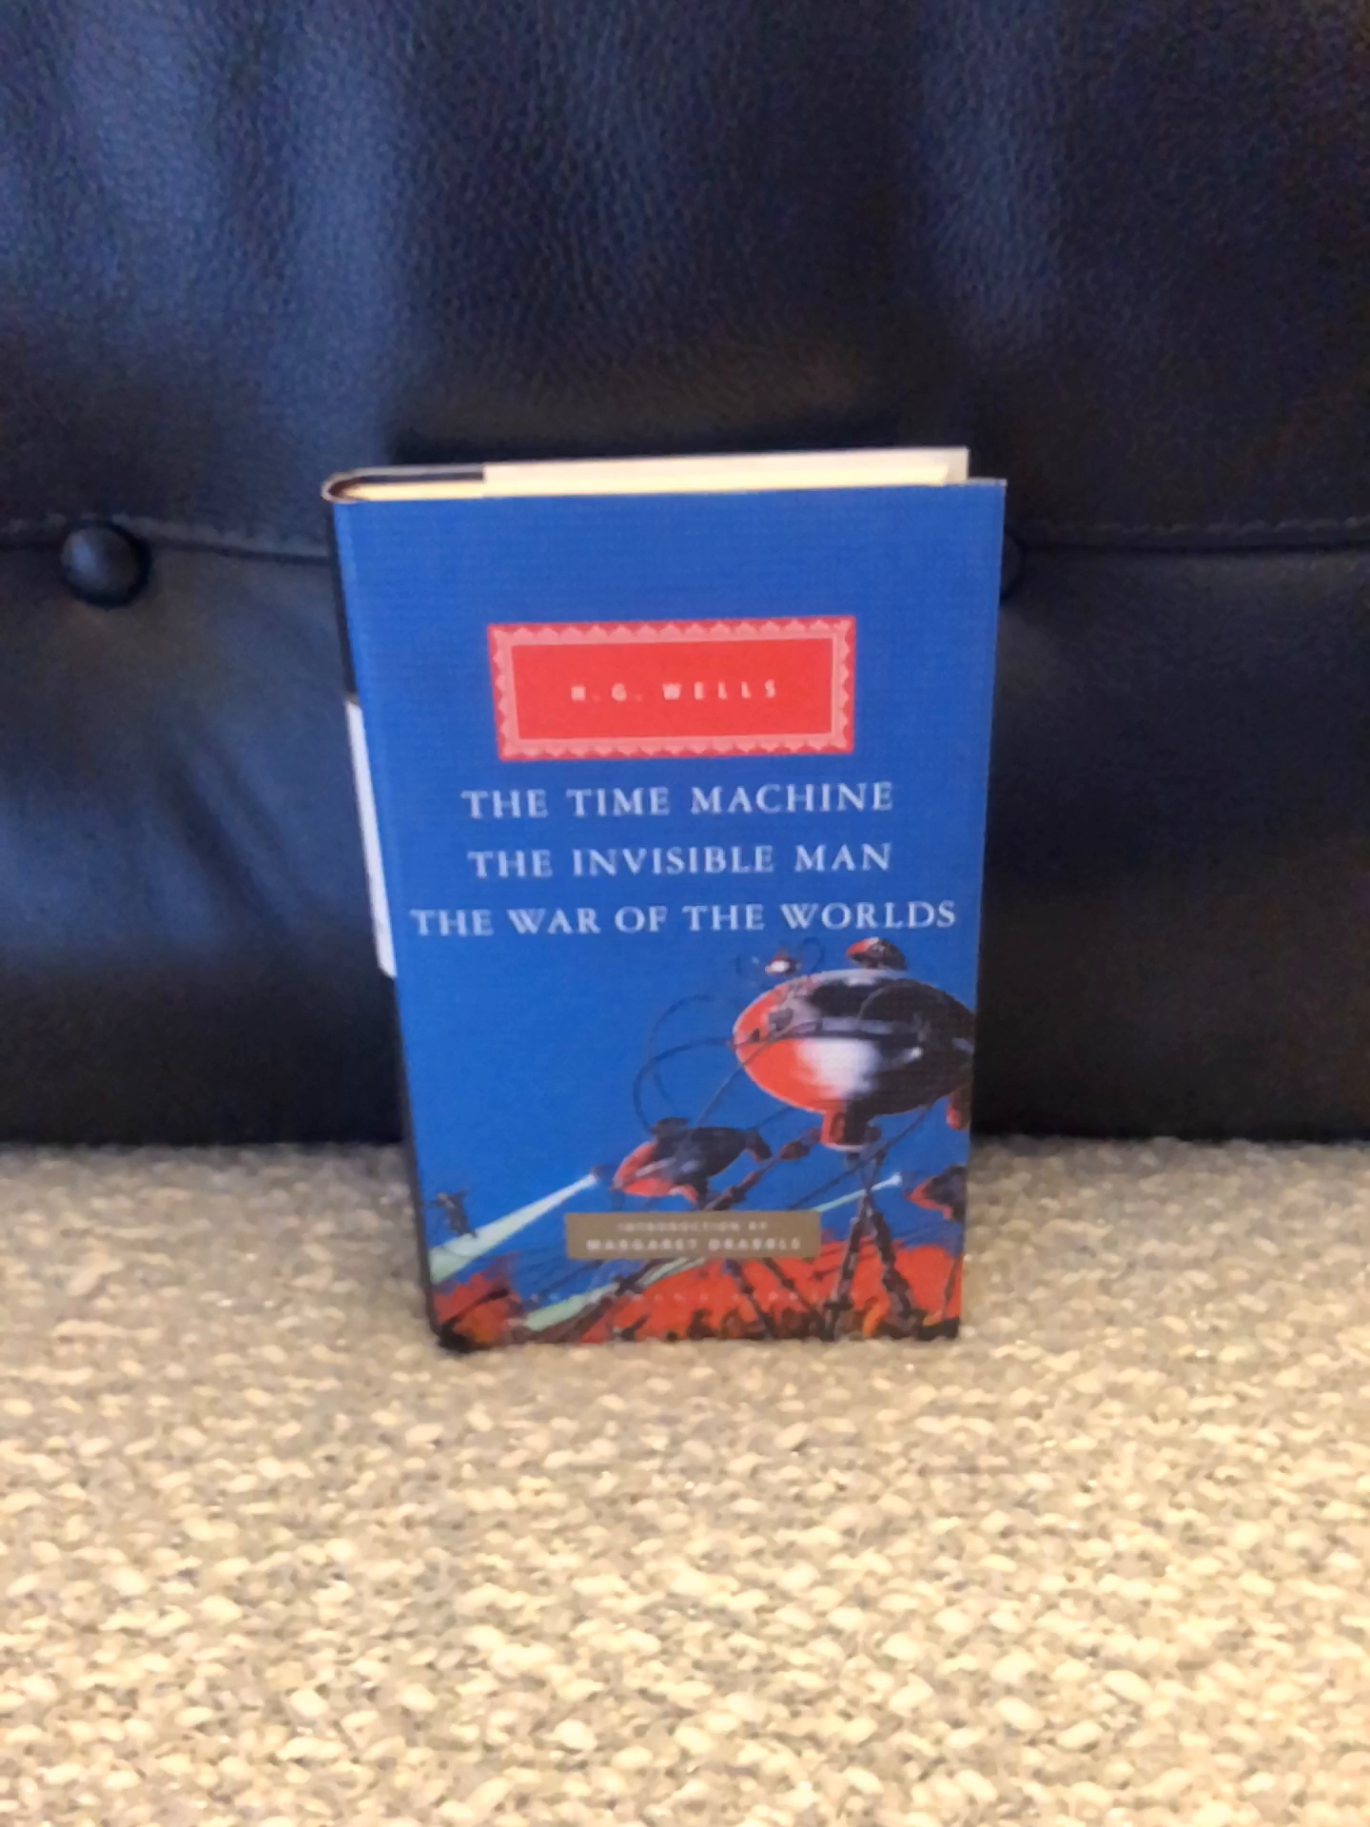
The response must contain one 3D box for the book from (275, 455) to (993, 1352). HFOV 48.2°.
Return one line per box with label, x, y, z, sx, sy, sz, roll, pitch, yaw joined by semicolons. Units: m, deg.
book;-0.007;0.008;0.380;0.148;0.225;0.035;-2;26;1
